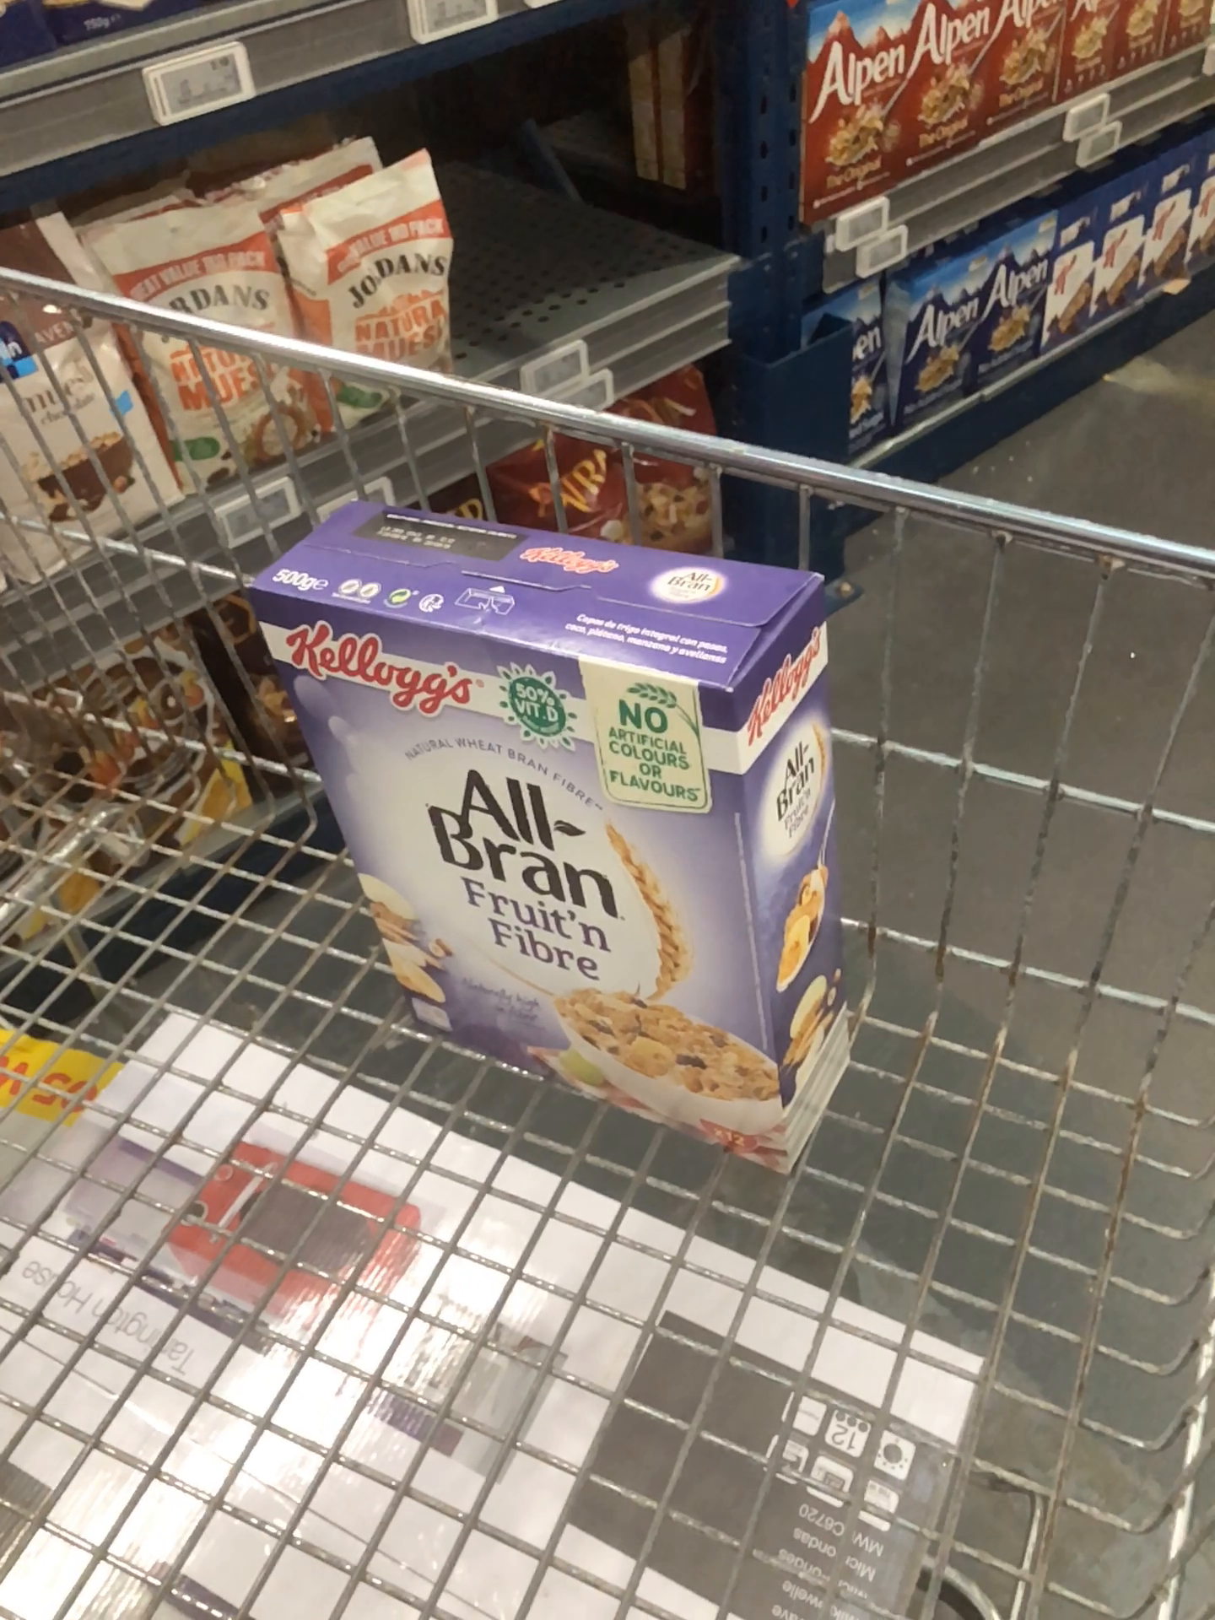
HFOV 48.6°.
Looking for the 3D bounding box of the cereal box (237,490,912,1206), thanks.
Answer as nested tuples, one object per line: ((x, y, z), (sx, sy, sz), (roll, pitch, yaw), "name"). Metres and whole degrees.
((0.001, 0.016, 0.477), (0.190, 0.229, 0.070), (14, 48, 28), "cereal box")
